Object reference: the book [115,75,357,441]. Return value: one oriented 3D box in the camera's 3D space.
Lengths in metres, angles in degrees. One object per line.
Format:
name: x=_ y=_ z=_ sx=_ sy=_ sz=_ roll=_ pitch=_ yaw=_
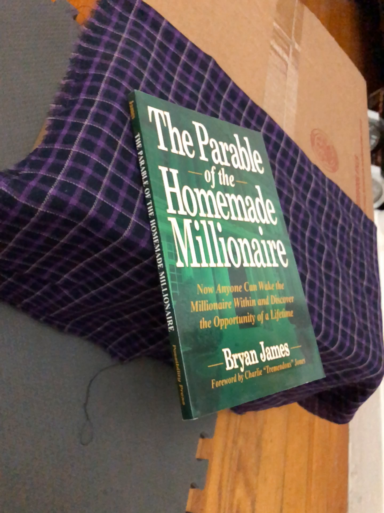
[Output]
book: x=0.037 y=-0.006 z=0.296 sx=0.161 sy=0.020 sz=0.210 roll=1 pitch=73 yaw=-42
